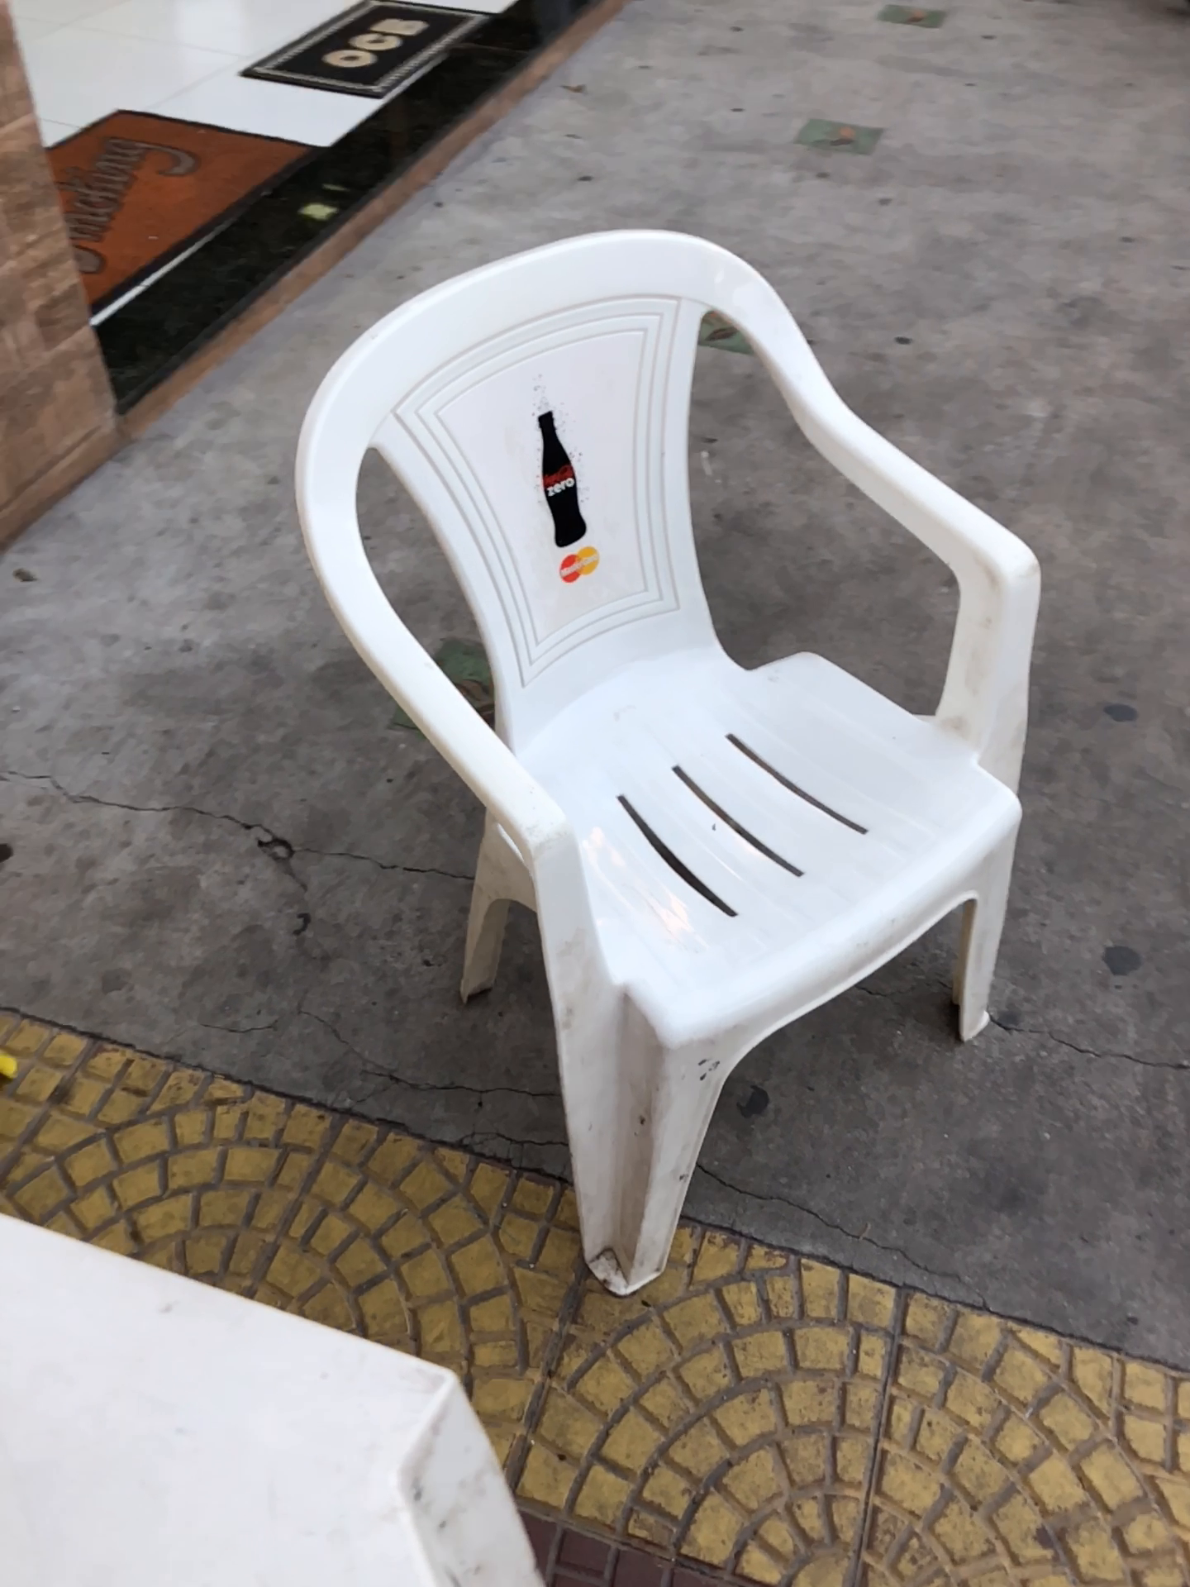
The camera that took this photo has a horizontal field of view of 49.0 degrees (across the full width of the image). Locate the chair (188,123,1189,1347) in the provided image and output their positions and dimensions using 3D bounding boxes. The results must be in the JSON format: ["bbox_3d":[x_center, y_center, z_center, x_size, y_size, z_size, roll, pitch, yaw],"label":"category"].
[{"bbox_3d":[0.126,-0.069,1.182,0.642,0.745,0.552,-28,51,-26],"label":"chair"}]
